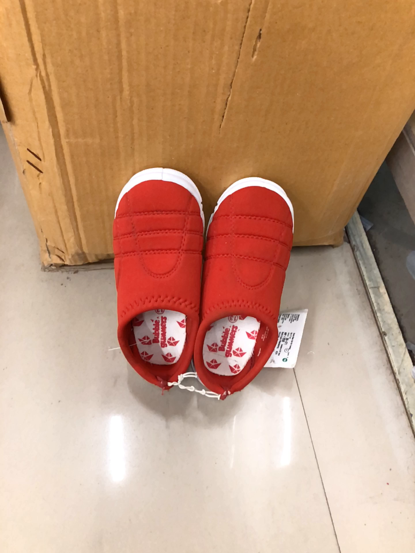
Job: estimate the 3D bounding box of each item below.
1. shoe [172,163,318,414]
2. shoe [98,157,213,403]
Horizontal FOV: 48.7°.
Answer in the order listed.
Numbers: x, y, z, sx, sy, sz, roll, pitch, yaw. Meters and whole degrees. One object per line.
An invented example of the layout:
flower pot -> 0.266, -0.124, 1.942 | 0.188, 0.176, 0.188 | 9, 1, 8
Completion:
shoe -> 0.031, 0.008, 0.430 | 0.084, 0.208, 0.081 | 11, 17, 2
shoe -> -0.045, 0.002, 0.415 | 0.084, 0.204, 0.082 | -1, 21, -6
